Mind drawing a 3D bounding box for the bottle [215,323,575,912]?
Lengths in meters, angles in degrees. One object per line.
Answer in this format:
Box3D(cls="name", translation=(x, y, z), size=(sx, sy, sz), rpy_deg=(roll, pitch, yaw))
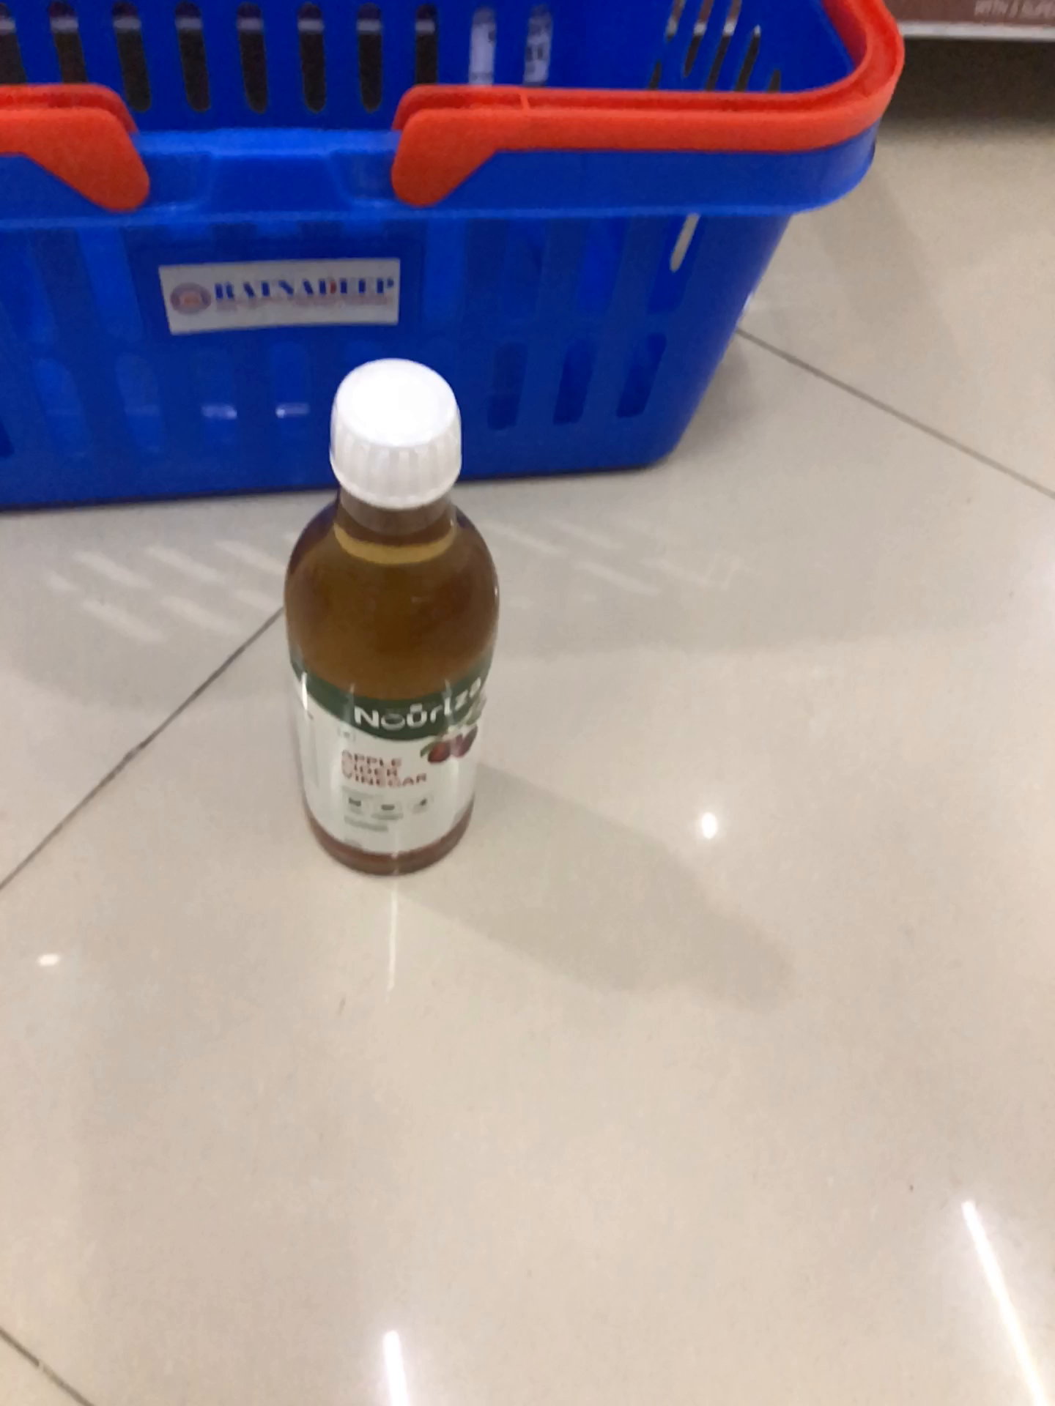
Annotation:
Box3D(cls="bottle", translation=(-0.047, -0.012, 0.389), size=(0.080, 0.219, 0.070), rpy_deg=(-8, 59, -12))
